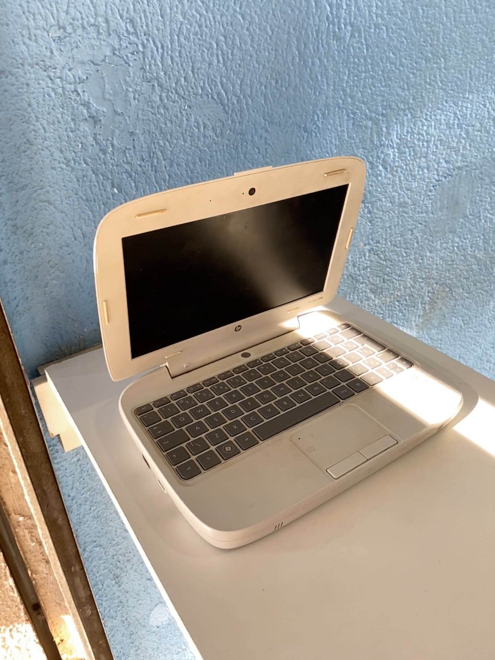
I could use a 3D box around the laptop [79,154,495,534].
[{"bbox_3d":[0.032,-0.016,0.416,0.248,0.172,0.178,-21,36,-27],"label":"laptop"}]
